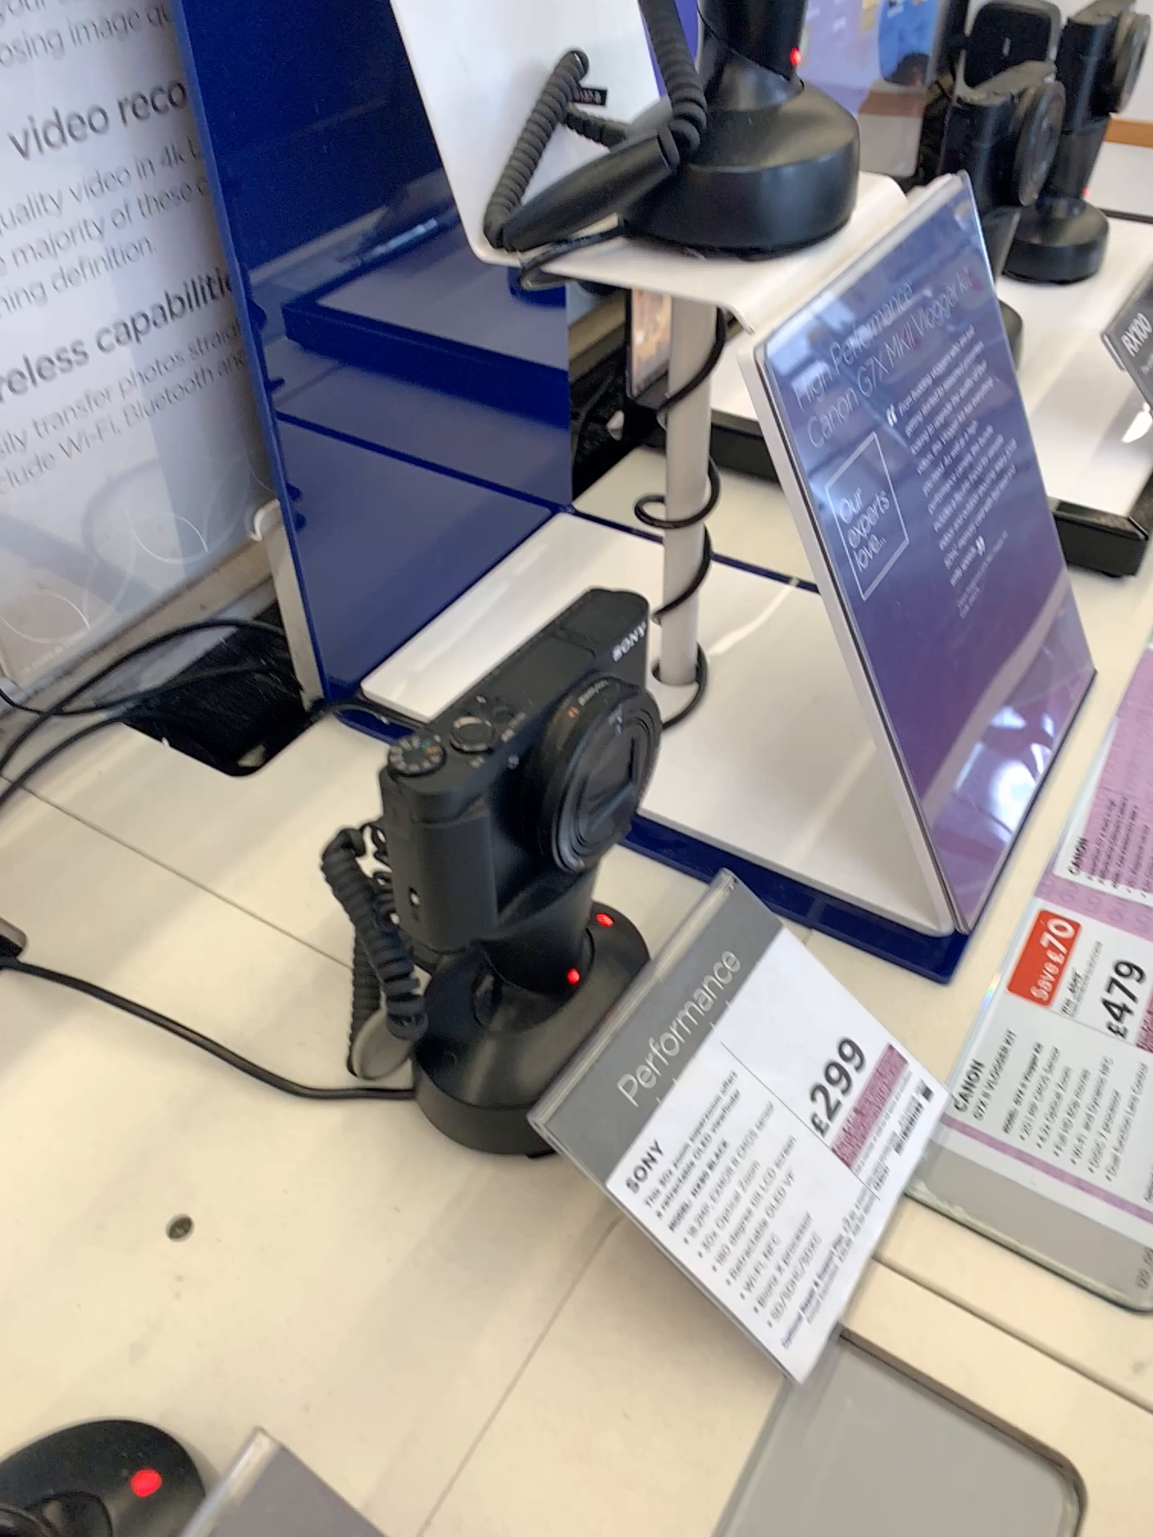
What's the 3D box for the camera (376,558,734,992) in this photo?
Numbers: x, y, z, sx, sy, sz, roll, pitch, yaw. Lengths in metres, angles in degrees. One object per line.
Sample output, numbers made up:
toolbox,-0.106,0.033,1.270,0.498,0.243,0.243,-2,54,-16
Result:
camera,-0.002,-0.002,0.314,0.040,0.059,0.101,23,46,24
